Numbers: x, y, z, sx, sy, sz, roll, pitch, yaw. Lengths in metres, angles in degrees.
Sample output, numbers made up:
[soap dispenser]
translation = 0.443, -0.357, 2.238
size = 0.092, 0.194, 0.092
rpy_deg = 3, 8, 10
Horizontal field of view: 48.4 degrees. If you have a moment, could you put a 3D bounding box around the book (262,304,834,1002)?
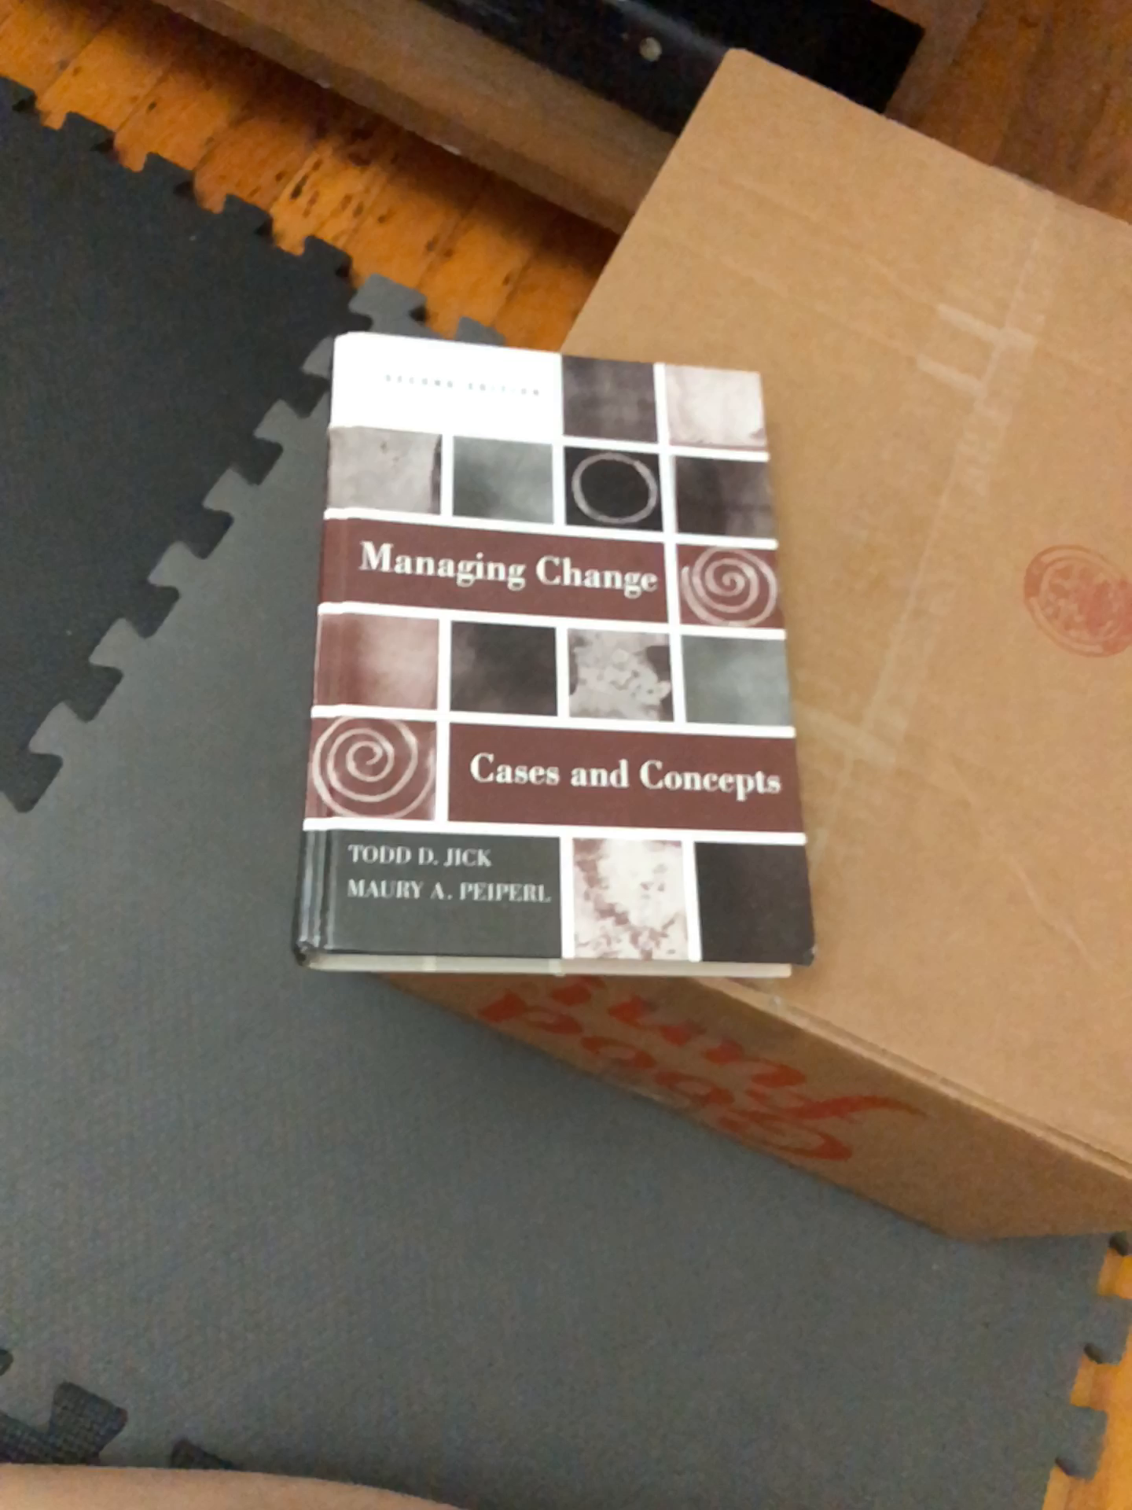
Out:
[book]
translation = -0.007, -0.041, 0.450
size = 0.180, 0.030, 0.251
rpy_deg = 3, 67, -11
